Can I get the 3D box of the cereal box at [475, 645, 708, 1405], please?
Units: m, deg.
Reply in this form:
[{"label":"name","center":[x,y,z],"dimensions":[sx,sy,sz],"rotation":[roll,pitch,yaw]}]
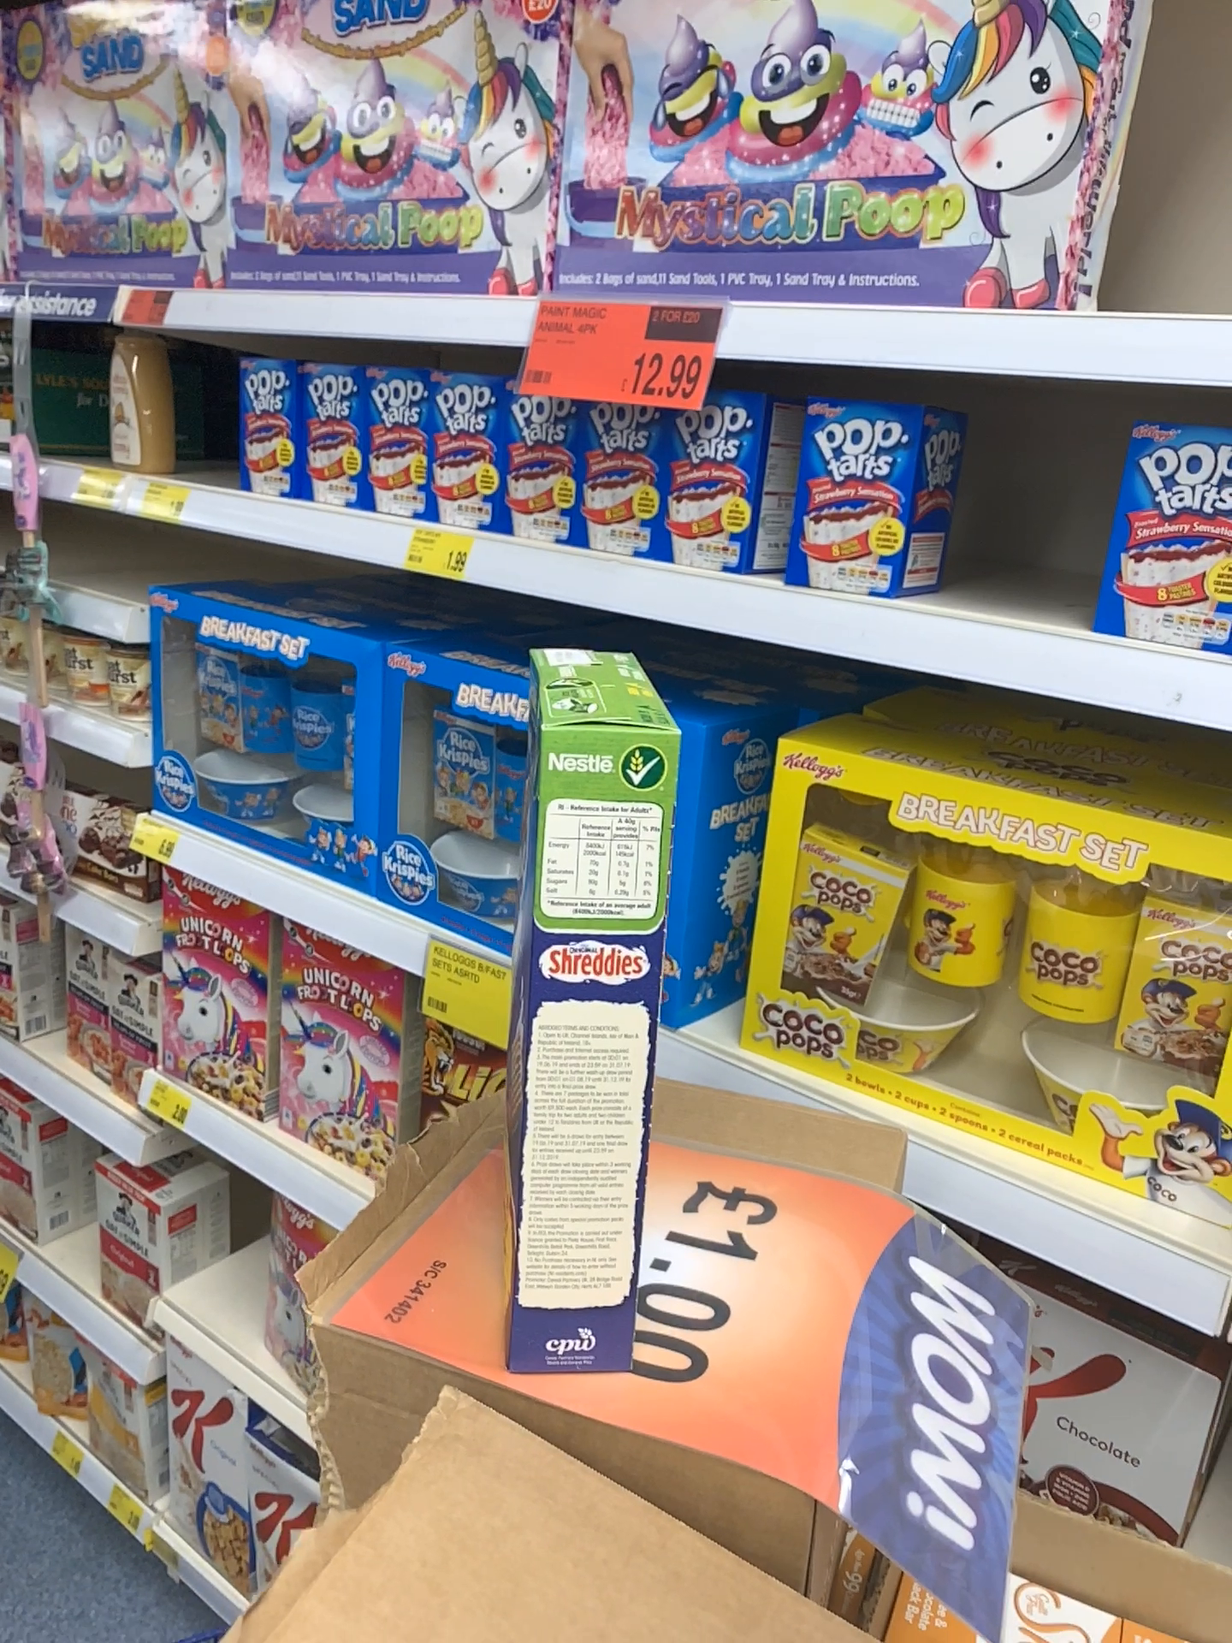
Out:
[{"label":"cereal box","center":[-0.016,0.072,0.568],"dimensions":[0.070,0.268,0.211],"rotation":[3,15,-3]}]
